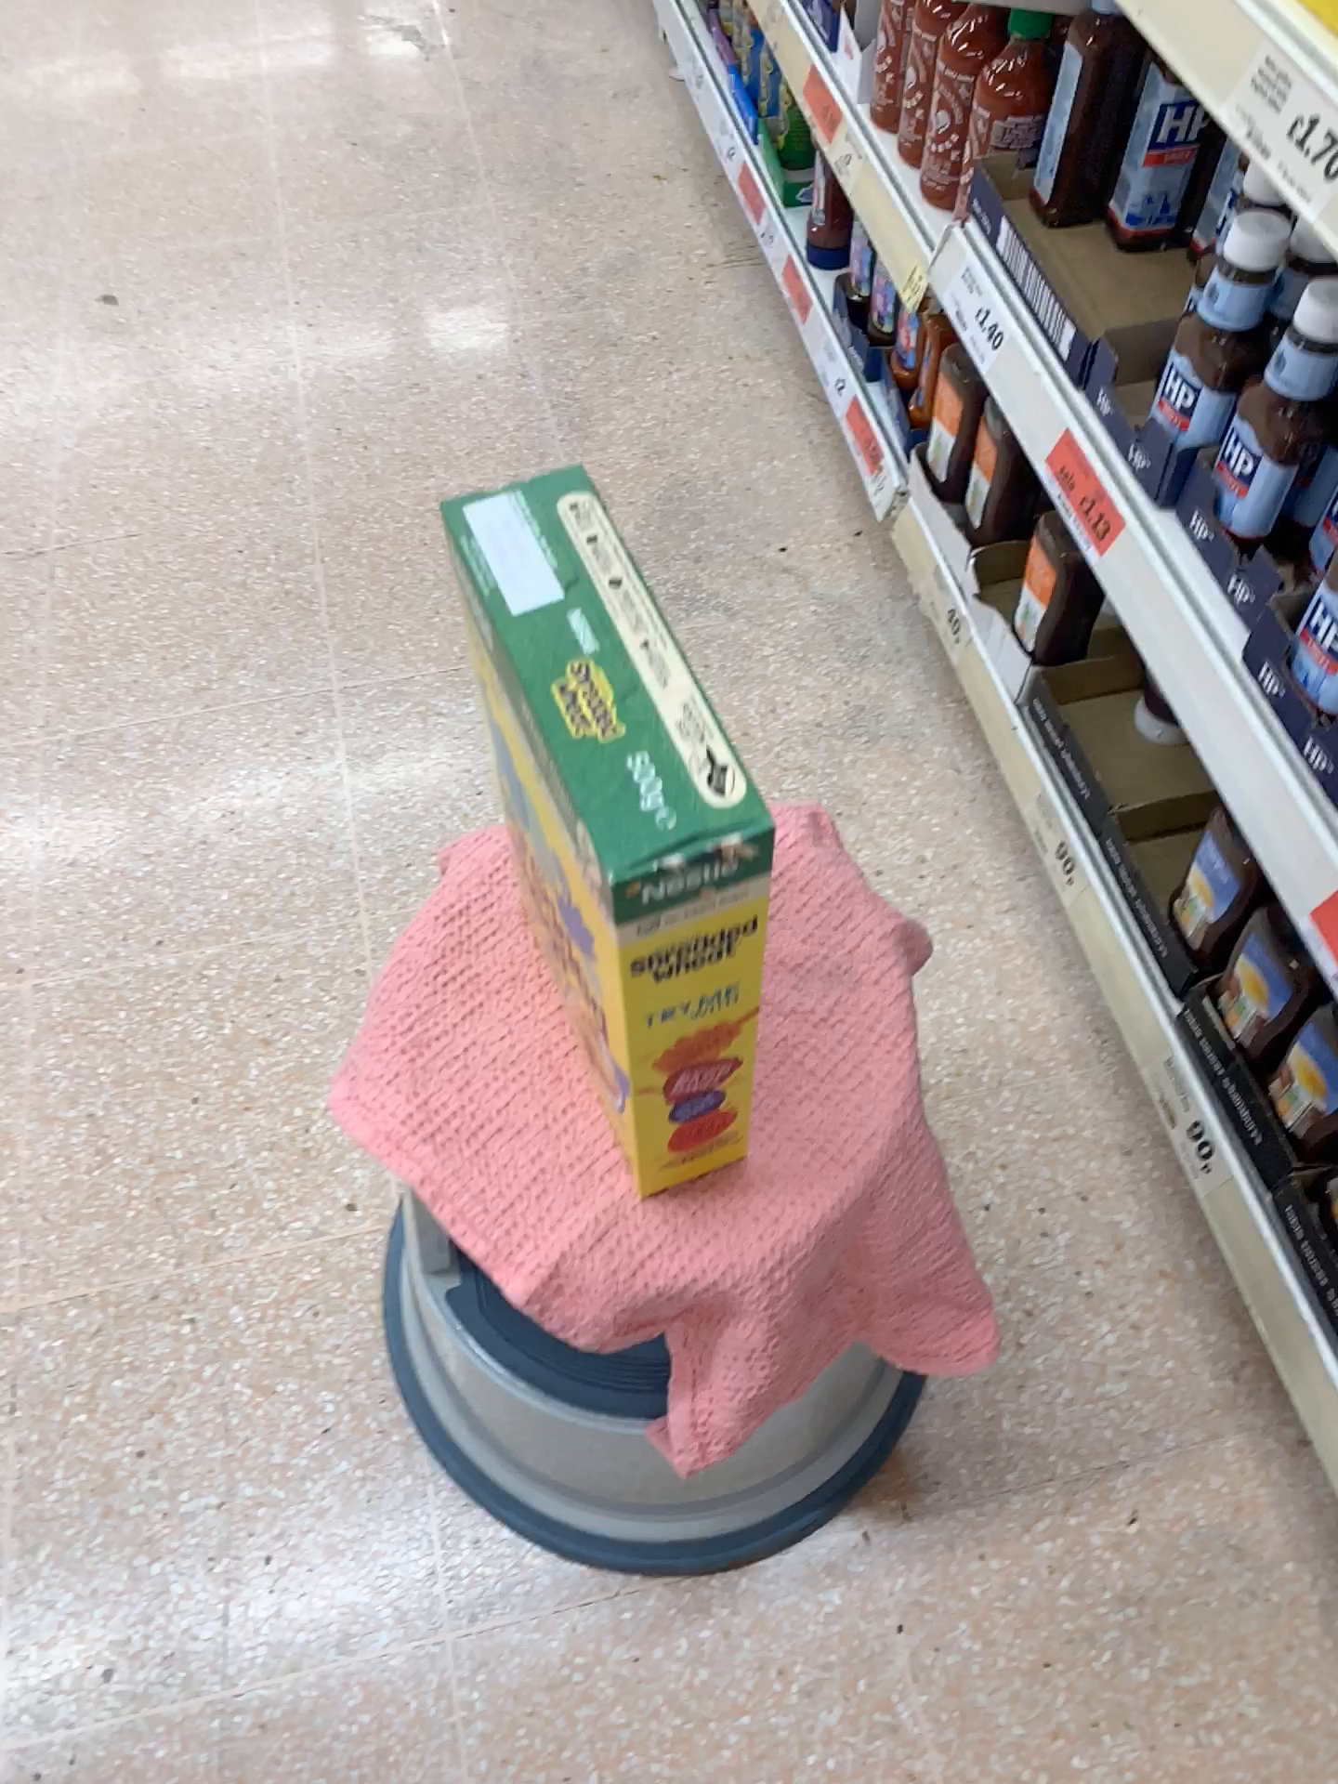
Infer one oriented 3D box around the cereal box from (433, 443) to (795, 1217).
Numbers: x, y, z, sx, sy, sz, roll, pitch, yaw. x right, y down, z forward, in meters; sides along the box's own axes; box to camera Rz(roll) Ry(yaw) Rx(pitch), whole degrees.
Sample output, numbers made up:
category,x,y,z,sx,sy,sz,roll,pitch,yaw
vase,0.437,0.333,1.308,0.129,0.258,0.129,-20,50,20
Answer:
category,x,y,z,sx,sy,sz,roll,pitch,yaw
cereal box,-0.024,-0.013,0.605,0.070,0.278,0.212,-16,57,-9
